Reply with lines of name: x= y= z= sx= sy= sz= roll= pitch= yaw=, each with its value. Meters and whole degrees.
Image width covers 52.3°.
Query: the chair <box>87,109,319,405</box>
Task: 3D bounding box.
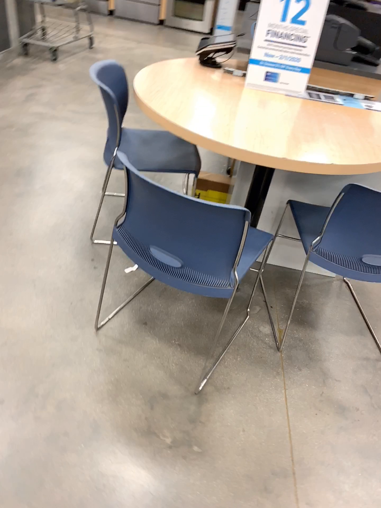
chair: x=0.015 y=-0.005 z=1.378 sx=0.484 sy=0.749 sz=0.553 roll=27 pitch=41 yaw=18

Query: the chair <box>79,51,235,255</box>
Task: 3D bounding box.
chair: x=-0.184 y=-0.456 z=1.834 sx=0.571 sy=0.729 sz=0.486 roll=5 pitch=39 yaw=-8

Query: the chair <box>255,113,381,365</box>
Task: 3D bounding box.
chair: x=0.618 y=-0.037 z=1.484 sx=0.483 sy=0.749 sz=0.534 roll=6 pitch=39 yaw=-7
